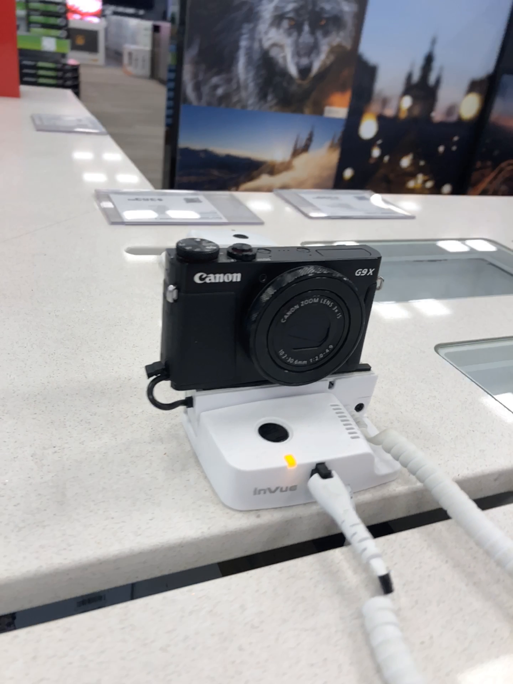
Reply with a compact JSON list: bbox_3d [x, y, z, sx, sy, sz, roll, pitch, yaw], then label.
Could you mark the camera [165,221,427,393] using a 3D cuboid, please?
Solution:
[{"bbox_3d":[0.015,-0.018,0.243,0.100,0.060,0.030,-5,30,-23],"label":"camera"}]
